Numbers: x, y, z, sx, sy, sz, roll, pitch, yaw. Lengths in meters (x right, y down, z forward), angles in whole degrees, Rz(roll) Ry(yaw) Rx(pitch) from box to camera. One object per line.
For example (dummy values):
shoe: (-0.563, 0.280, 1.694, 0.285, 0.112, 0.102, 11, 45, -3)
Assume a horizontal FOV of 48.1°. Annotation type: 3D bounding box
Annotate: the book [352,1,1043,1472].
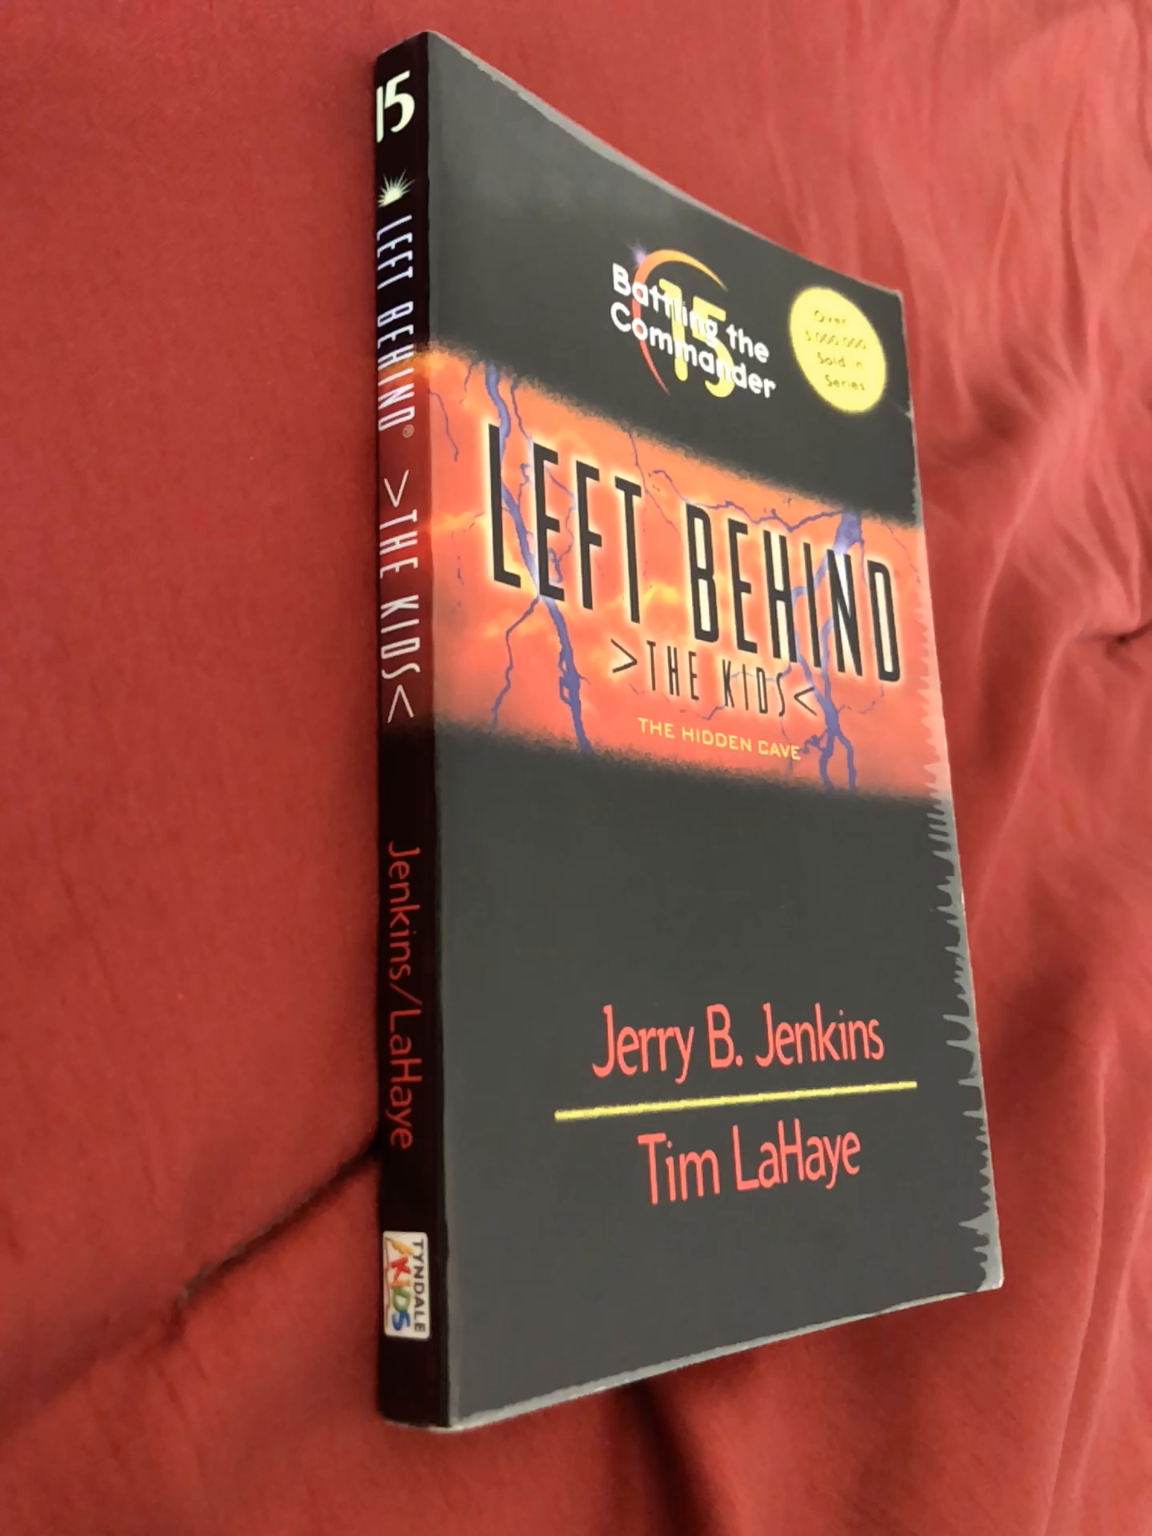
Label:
book: (0.021, -0.005, 0.192, 0.111, 0.026, 0.170, 11, 71, -45)
